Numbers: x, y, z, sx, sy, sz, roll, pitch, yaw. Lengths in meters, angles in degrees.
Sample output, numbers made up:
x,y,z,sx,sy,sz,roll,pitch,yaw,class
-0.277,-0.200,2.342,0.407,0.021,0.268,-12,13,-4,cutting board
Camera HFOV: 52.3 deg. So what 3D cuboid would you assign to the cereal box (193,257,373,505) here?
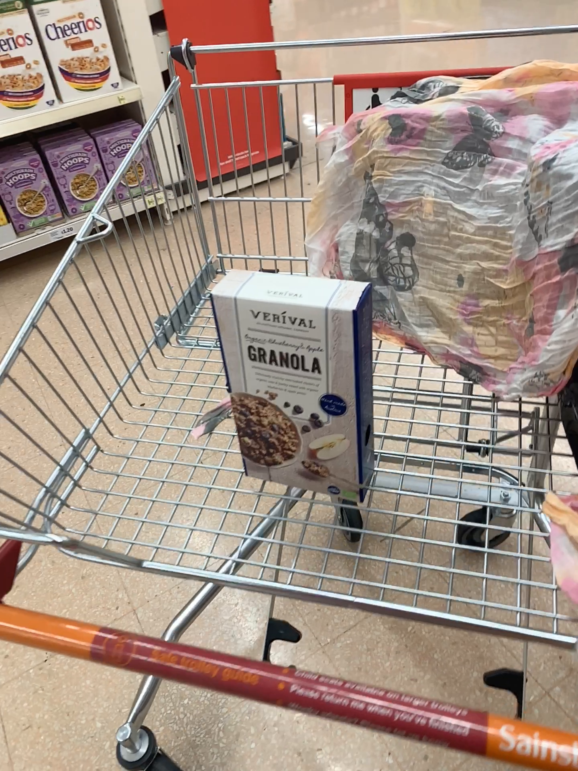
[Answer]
x,y,z,sx,sy,sz,roll,pitch,yaw,class
0.003,0.002,0.556,0.140,0.228,0.050,10,40,19,cereal box
